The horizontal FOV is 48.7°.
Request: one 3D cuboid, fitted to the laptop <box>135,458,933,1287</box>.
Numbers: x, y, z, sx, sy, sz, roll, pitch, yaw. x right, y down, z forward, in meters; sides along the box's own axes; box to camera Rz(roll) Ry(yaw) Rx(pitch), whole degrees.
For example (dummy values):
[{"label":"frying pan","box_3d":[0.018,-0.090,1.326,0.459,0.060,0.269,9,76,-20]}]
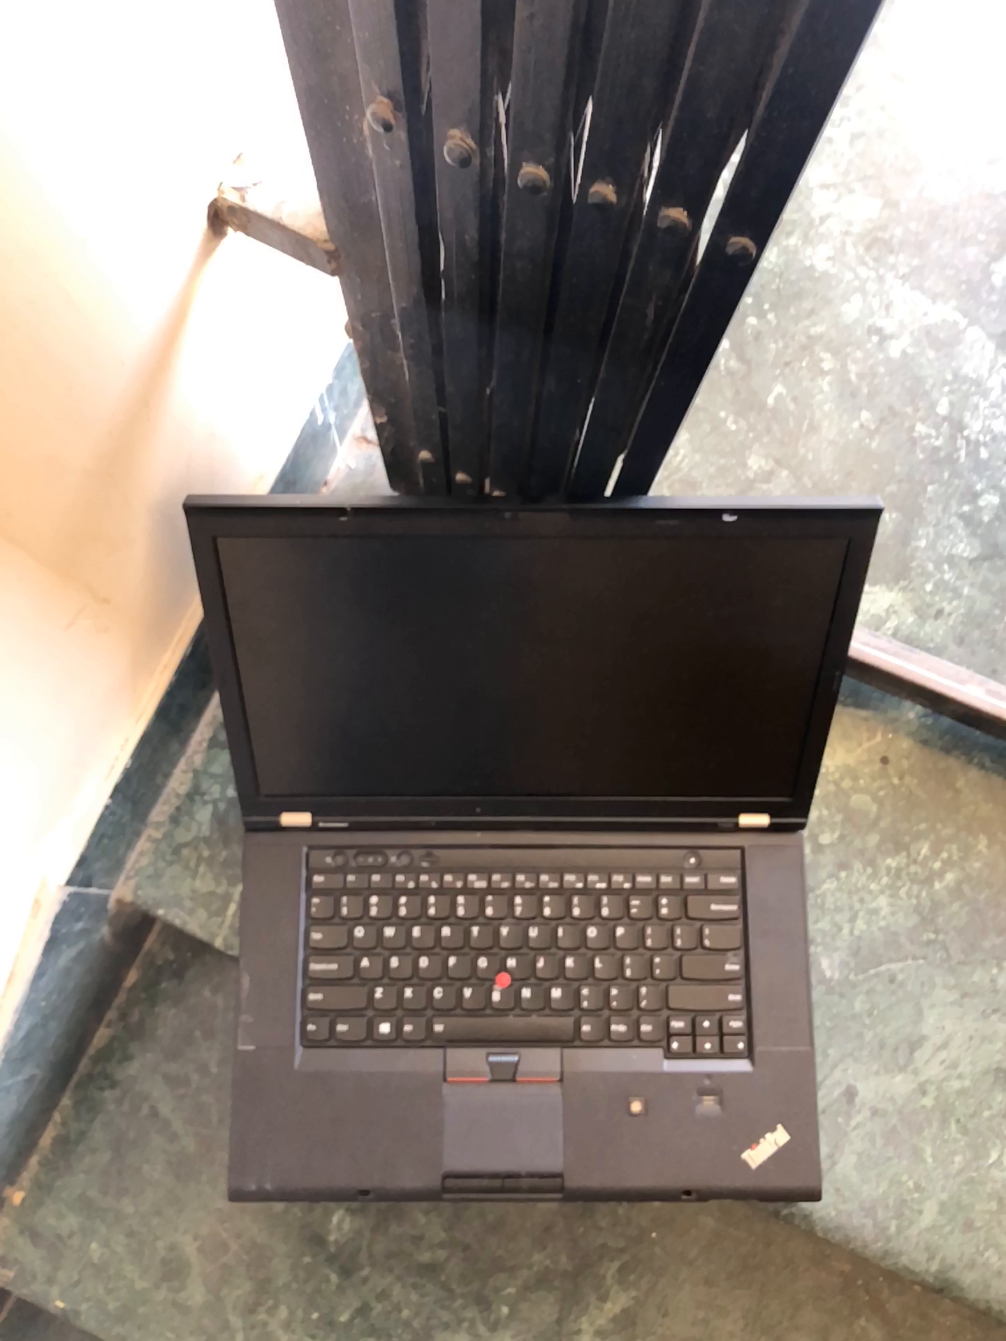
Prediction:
[{"label":"laptop","box_3d":[0.014,0.109,0.617,0.359,0.182,0.387,0,80,-1]}]
